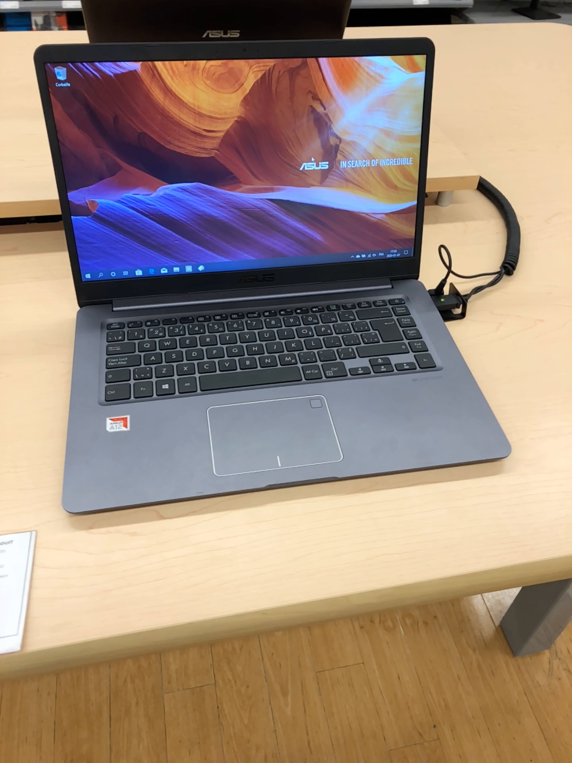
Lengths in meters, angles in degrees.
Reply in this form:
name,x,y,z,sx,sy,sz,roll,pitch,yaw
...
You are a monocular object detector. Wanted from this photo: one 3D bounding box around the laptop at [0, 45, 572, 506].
name,x,y,z,sx,sy,sz,roll,pitch,yaw
laptop,-0.014,-0.113,0.540,0.361,0.223,0.318,-6,46,-9
